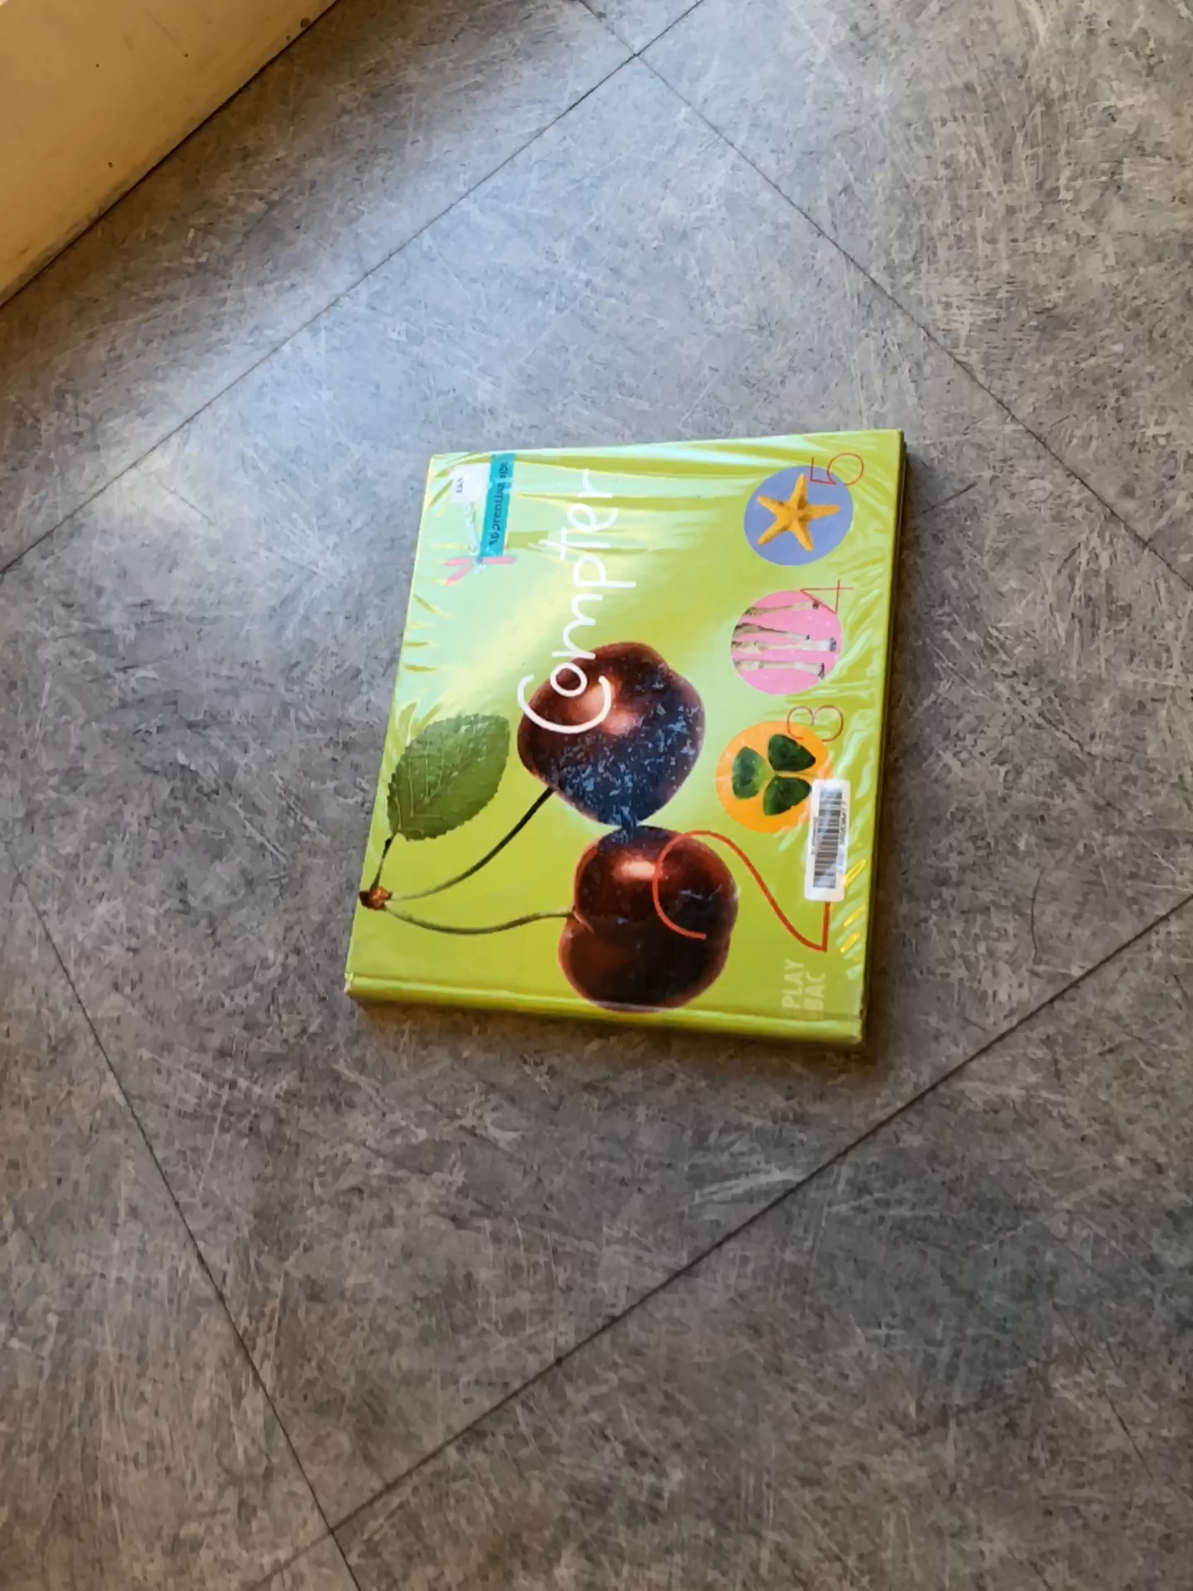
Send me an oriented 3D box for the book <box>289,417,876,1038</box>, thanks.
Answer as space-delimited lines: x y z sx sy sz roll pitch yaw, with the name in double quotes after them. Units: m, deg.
-0.004 -0.038 0.556 0.222 0.021 0.256 3 75 16 "book"
